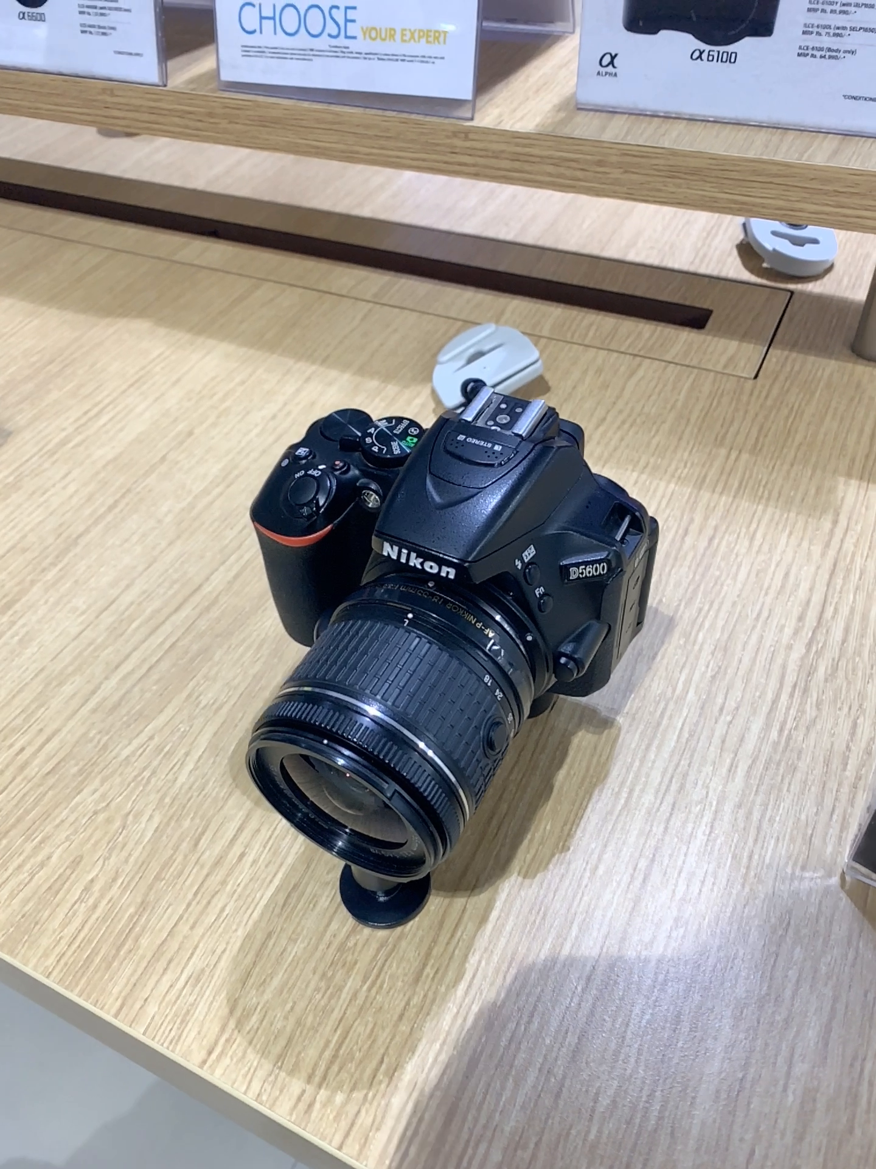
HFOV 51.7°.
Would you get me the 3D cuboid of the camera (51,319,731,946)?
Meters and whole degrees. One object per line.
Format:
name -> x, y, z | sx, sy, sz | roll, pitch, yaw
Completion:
camera -> -0.005, 0.003, 0.246 | 0.124, 0.080, 0.114 | 19, 50, 21
